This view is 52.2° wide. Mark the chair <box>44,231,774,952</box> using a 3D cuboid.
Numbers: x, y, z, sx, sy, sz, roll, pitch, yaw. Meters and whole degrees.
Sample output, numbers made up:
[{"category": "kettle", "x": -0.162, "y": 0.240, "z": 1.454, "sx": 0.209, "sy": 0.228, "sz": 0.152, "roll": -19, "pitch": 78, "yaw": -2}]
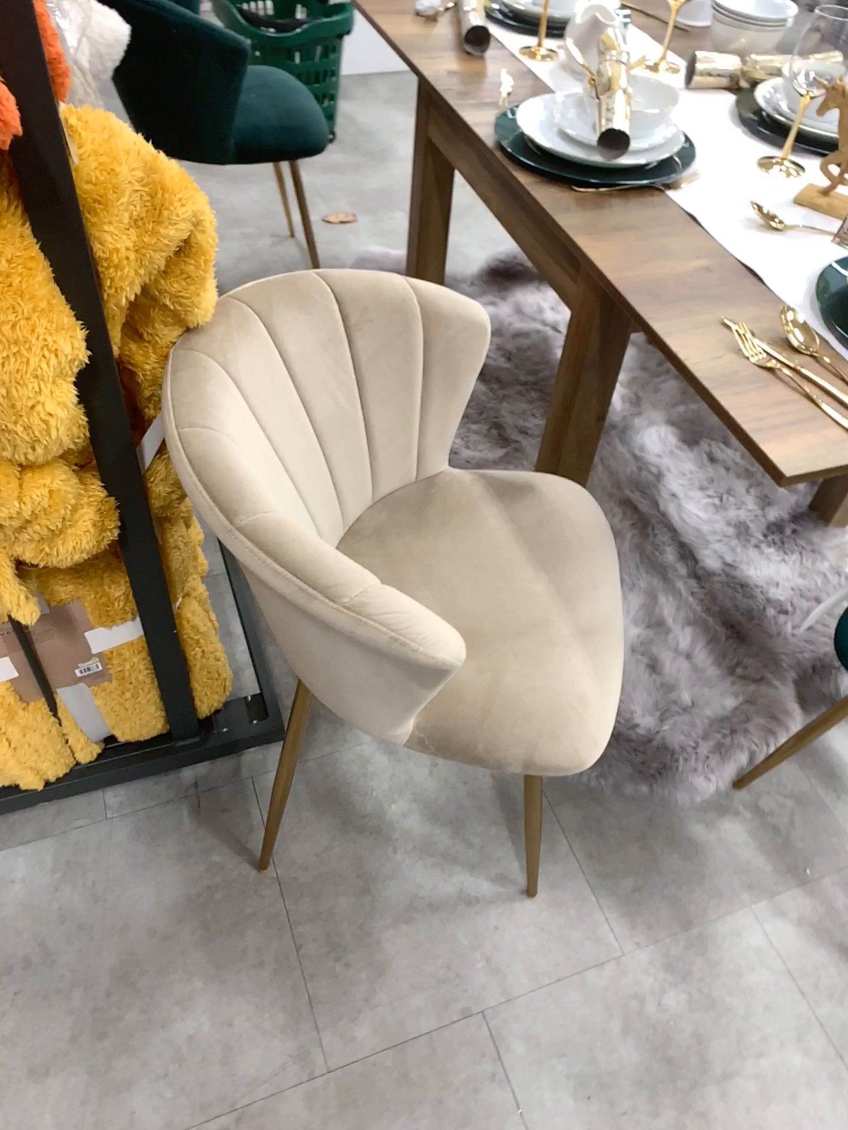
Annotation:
[{"category": "chair", "x": -0.009, "y": 0.055, "z": 1.110, "sx": 0.572, "sy": 0.666, "sz": 0.566, "roll": 7, "pitch": 47, "yaw": 1}]
